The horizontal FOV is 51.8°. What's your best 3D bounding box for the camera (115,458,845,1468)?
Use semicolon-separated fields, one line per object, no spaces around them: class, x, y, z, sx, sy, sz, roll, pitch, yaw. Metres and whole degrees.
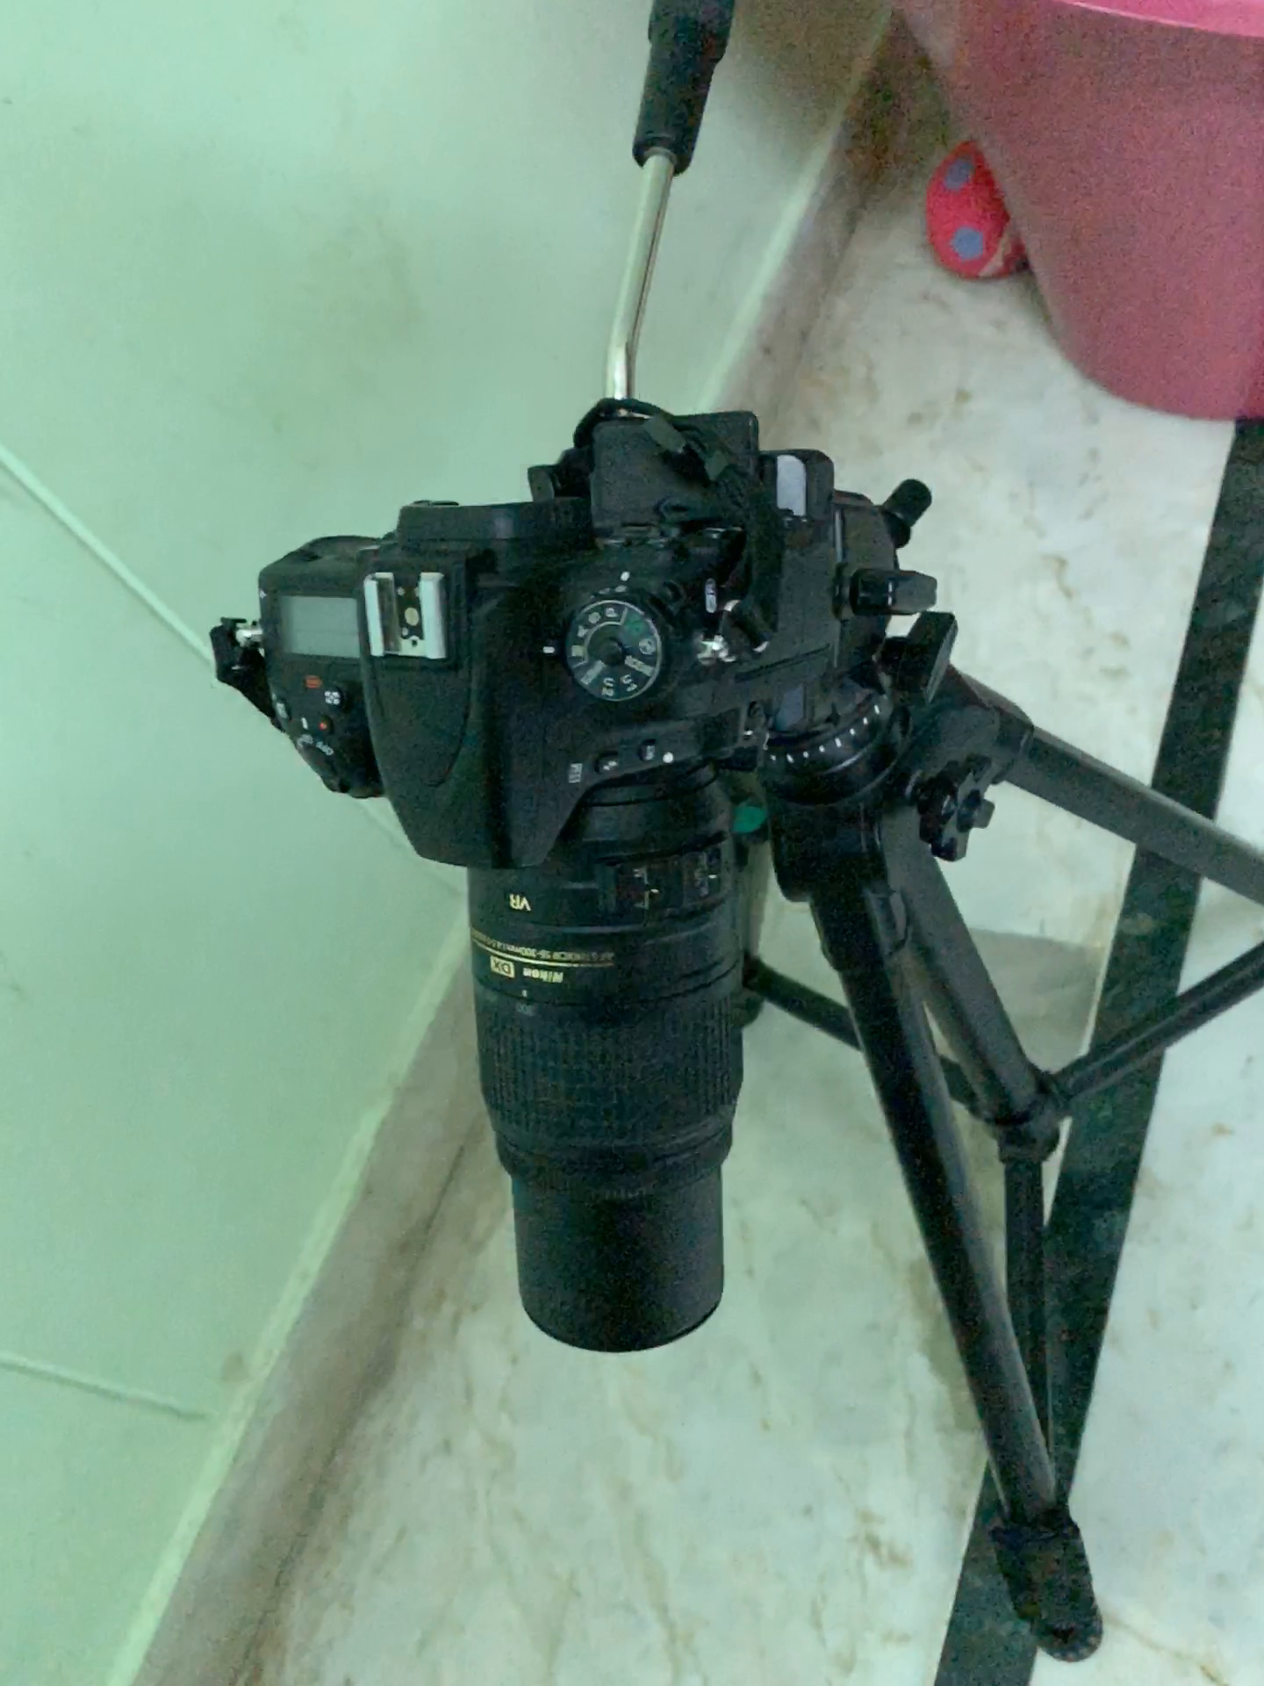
camera;-0.030;0.013;0.342;0.130;0.214;0.116;9;19;32
